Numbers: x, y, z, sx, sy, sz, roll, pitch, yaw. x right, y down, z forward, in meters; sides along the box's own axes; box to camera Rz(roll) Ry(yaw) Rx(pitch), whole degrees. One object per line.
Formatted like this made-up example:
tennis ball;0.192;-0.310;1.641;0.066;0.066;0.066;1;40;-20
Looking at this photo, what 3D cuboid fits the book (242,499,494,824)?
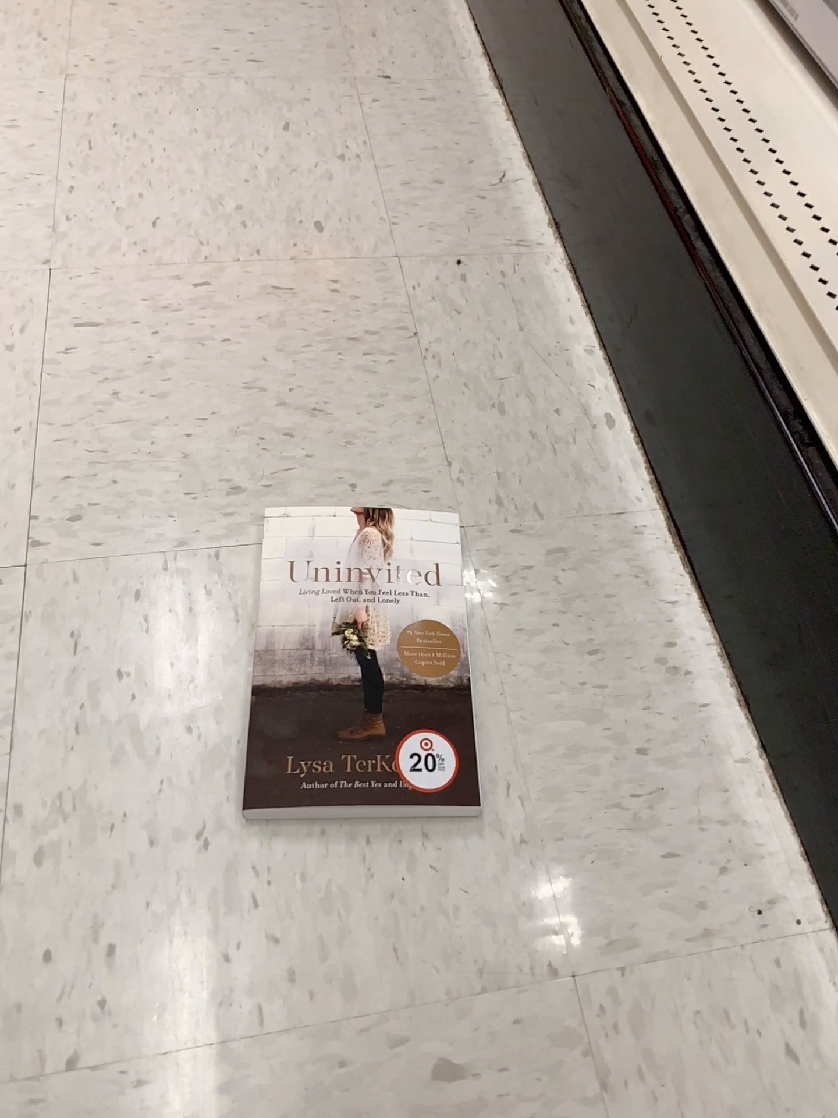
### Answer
book;-0.034;0.057;0.545;0.140;0.030;0.211;1;57;-6
